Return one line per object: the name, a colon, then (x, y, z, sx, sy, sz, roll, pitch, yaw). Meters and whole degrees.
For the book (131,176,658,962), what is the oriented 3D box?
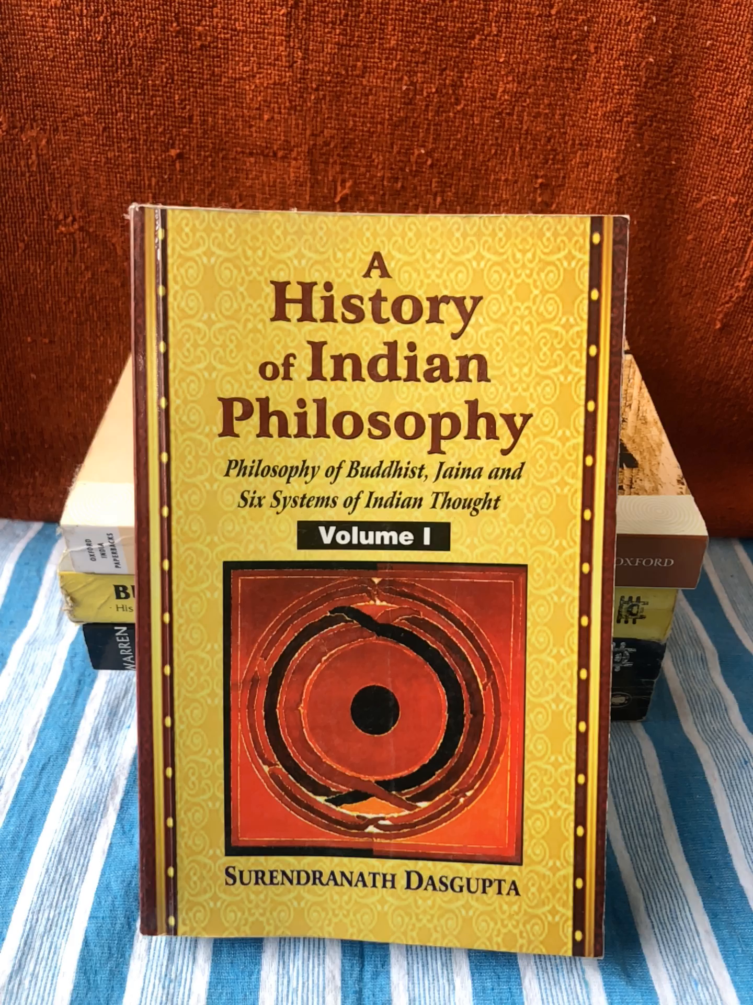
book: (0.004, 0.019, 0.257, 0.141, 0.216, 0.048, 1, 5, 4)
